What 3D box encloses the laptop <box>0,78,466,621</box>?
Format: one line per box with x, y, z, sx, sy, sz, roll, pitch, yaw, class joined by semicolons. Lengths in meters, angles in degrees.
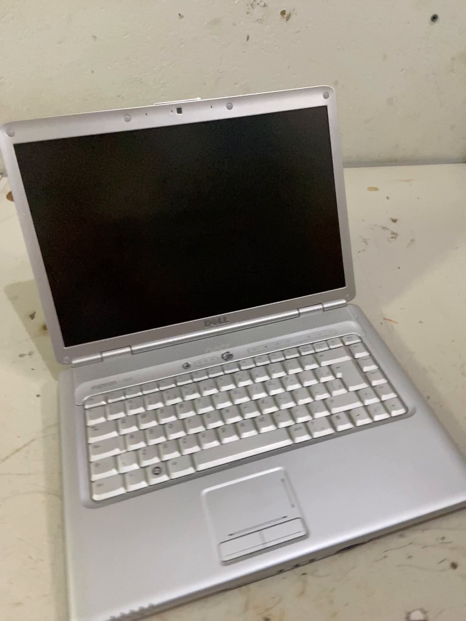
-0.001;-0.015;0.434;0.349;0.208;0.379;-12;46;-12;laptop
